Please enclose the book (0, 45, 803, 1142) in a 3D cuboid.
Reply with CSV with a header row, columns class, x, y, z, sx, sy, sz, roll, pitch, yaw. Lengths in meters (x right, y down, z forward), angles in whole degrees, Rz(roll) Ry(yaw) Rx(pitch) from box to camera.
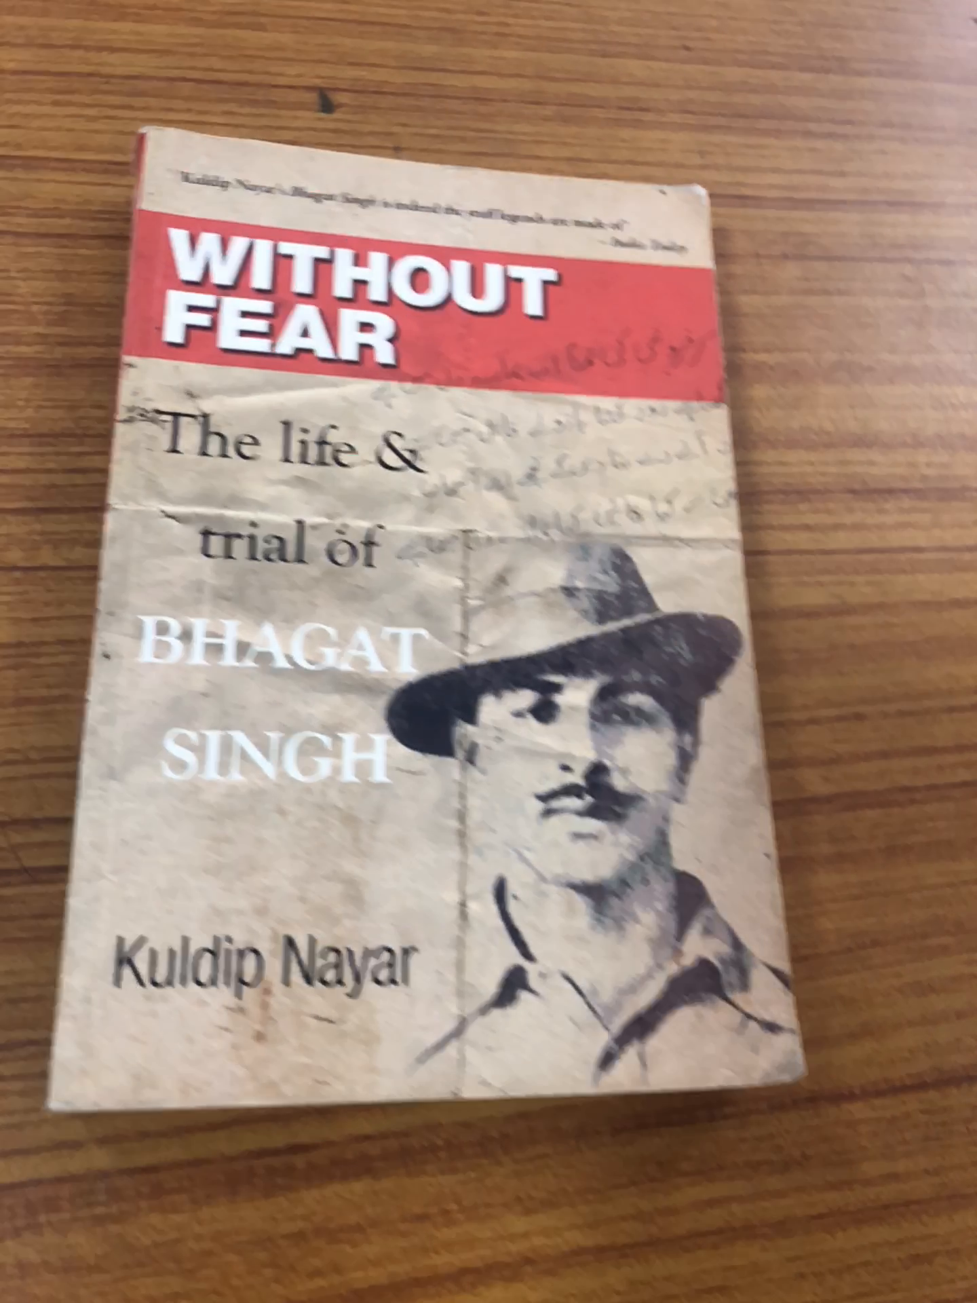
class,x,y,z,sx,sy,sz,roll,pitch,yaw
book,-0.019,-0.019,0.222,0.140,0.030,0.210,3,72,-9
